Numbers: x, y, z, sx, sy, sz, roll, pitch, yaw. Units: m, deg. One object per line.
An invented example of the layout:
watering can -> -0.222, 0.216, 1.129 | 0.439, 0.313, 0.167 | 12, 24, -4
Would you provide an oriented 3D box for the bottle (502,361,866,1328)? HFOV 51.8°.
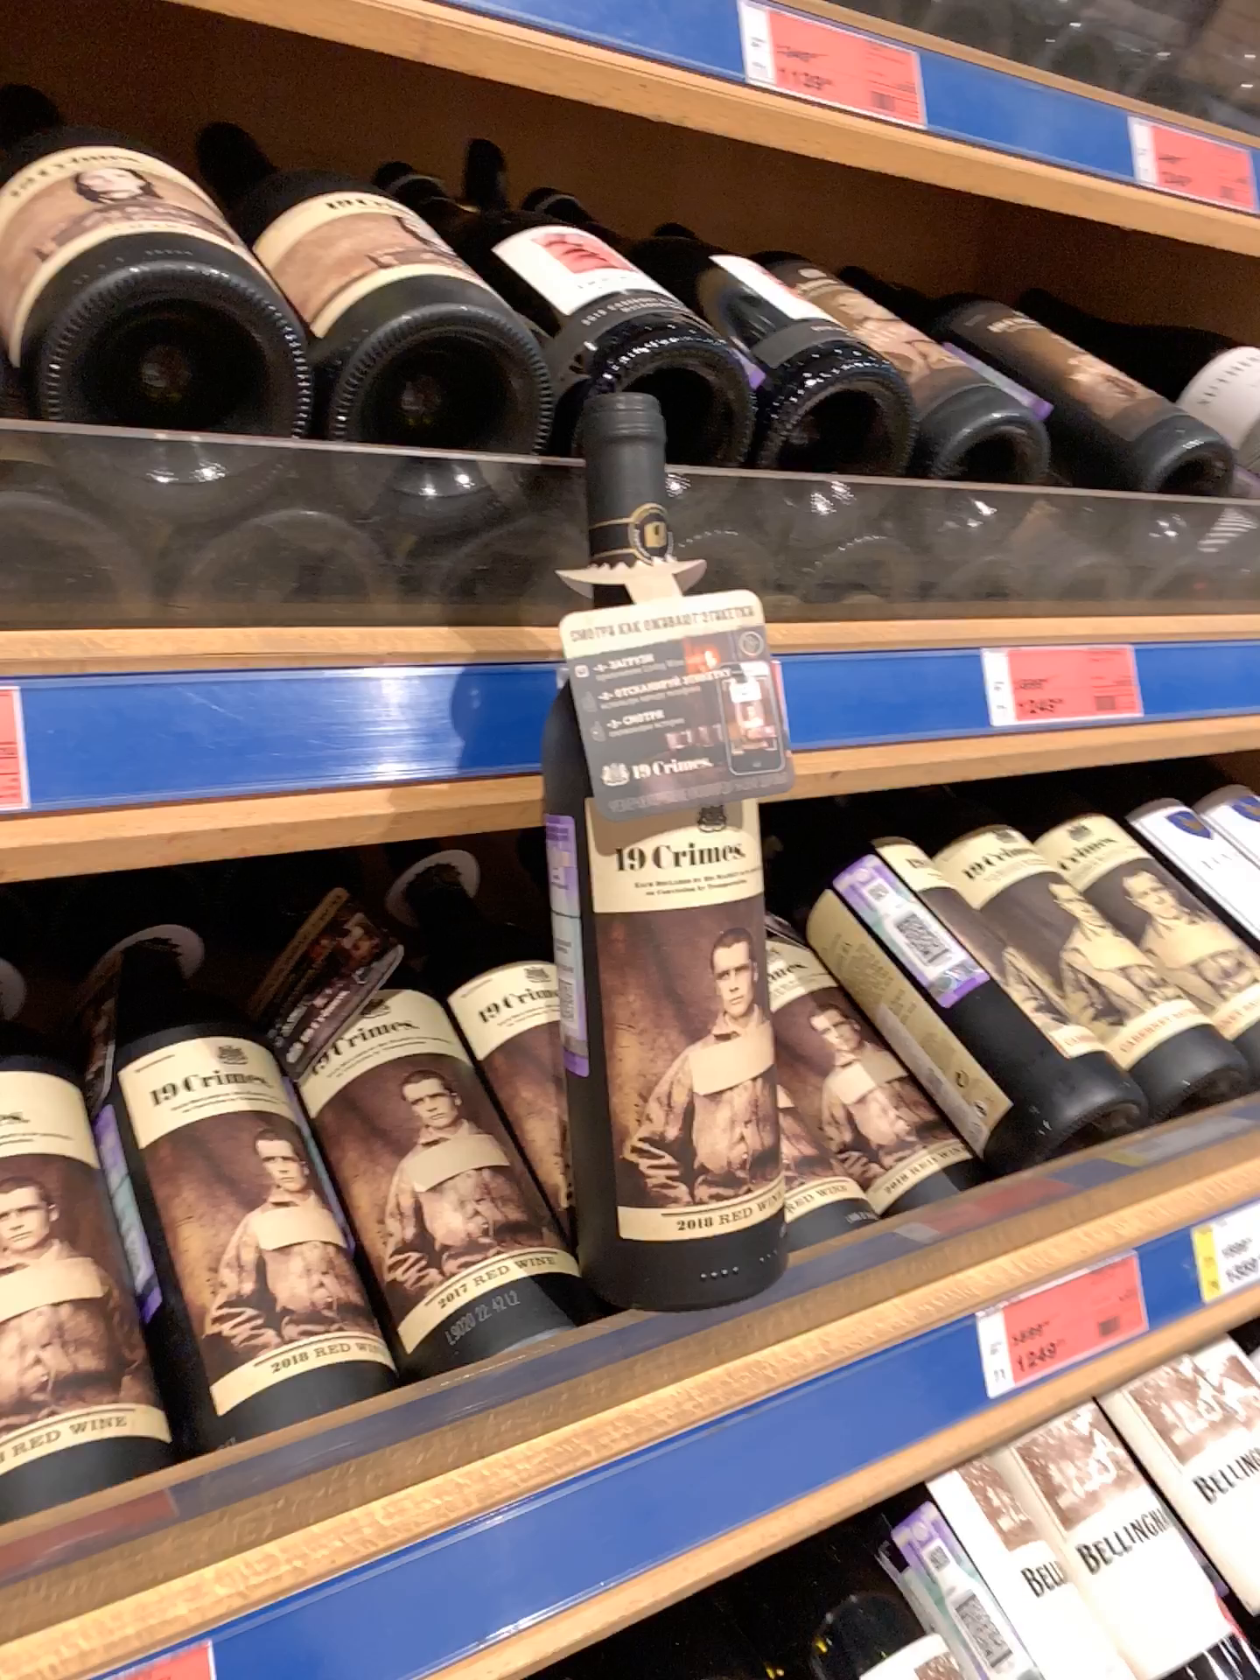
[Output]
bottle -> 0.020, 0.000, 0.459 | 0.087, 0.300, 0.081 | -2, 4, 0
